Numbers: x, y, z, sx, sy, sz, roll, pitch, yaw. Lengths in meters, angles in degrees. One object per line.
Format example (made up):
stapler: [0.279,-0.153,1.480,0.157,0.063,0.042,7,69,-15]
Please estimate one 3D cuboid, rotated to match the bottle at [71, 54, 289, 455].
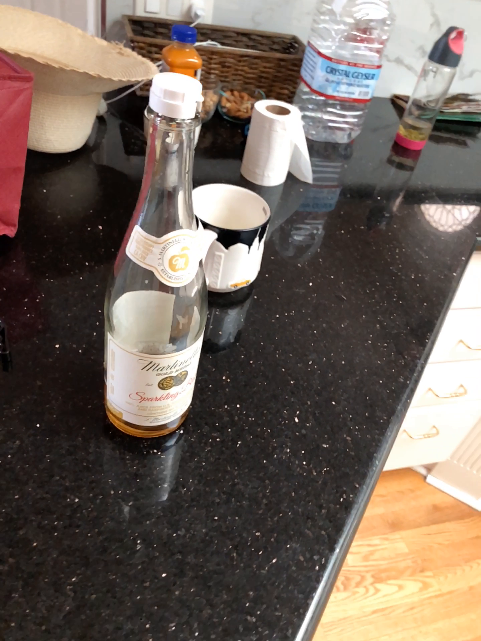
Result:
bottle: [-0.062,-0.034,0.407,0.094,0.288,0.098,8,41,-7]
